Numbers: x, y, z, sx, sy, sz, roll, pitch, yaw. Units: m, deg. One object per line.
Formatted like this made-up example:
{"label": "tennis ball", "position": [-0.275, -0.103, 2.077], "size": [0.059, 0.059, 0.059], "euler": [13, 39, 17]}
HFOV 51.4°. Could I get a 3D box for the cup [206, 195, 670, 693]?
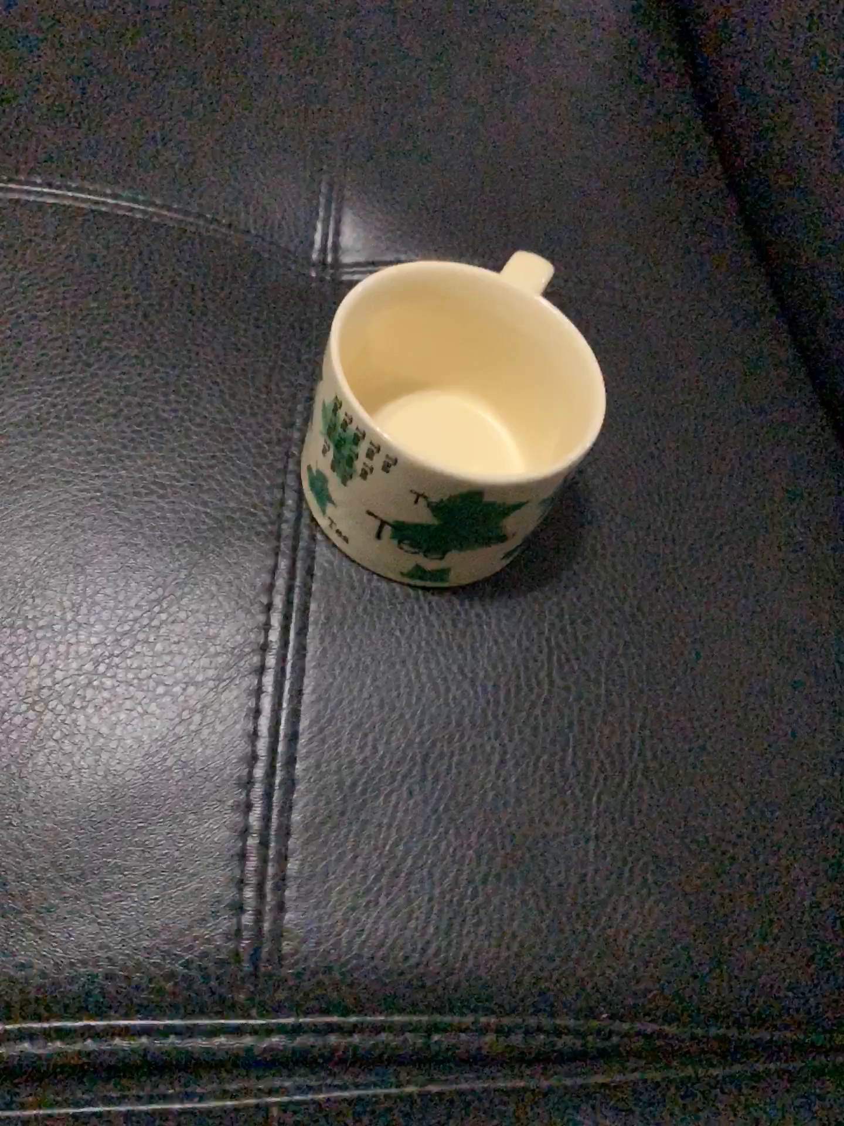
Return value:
{"label": "cup", "position": [0.008, -0.041, 0.269], "size": [0.090, 0.060, 0.119], "euler": [29, 51, 2]}
